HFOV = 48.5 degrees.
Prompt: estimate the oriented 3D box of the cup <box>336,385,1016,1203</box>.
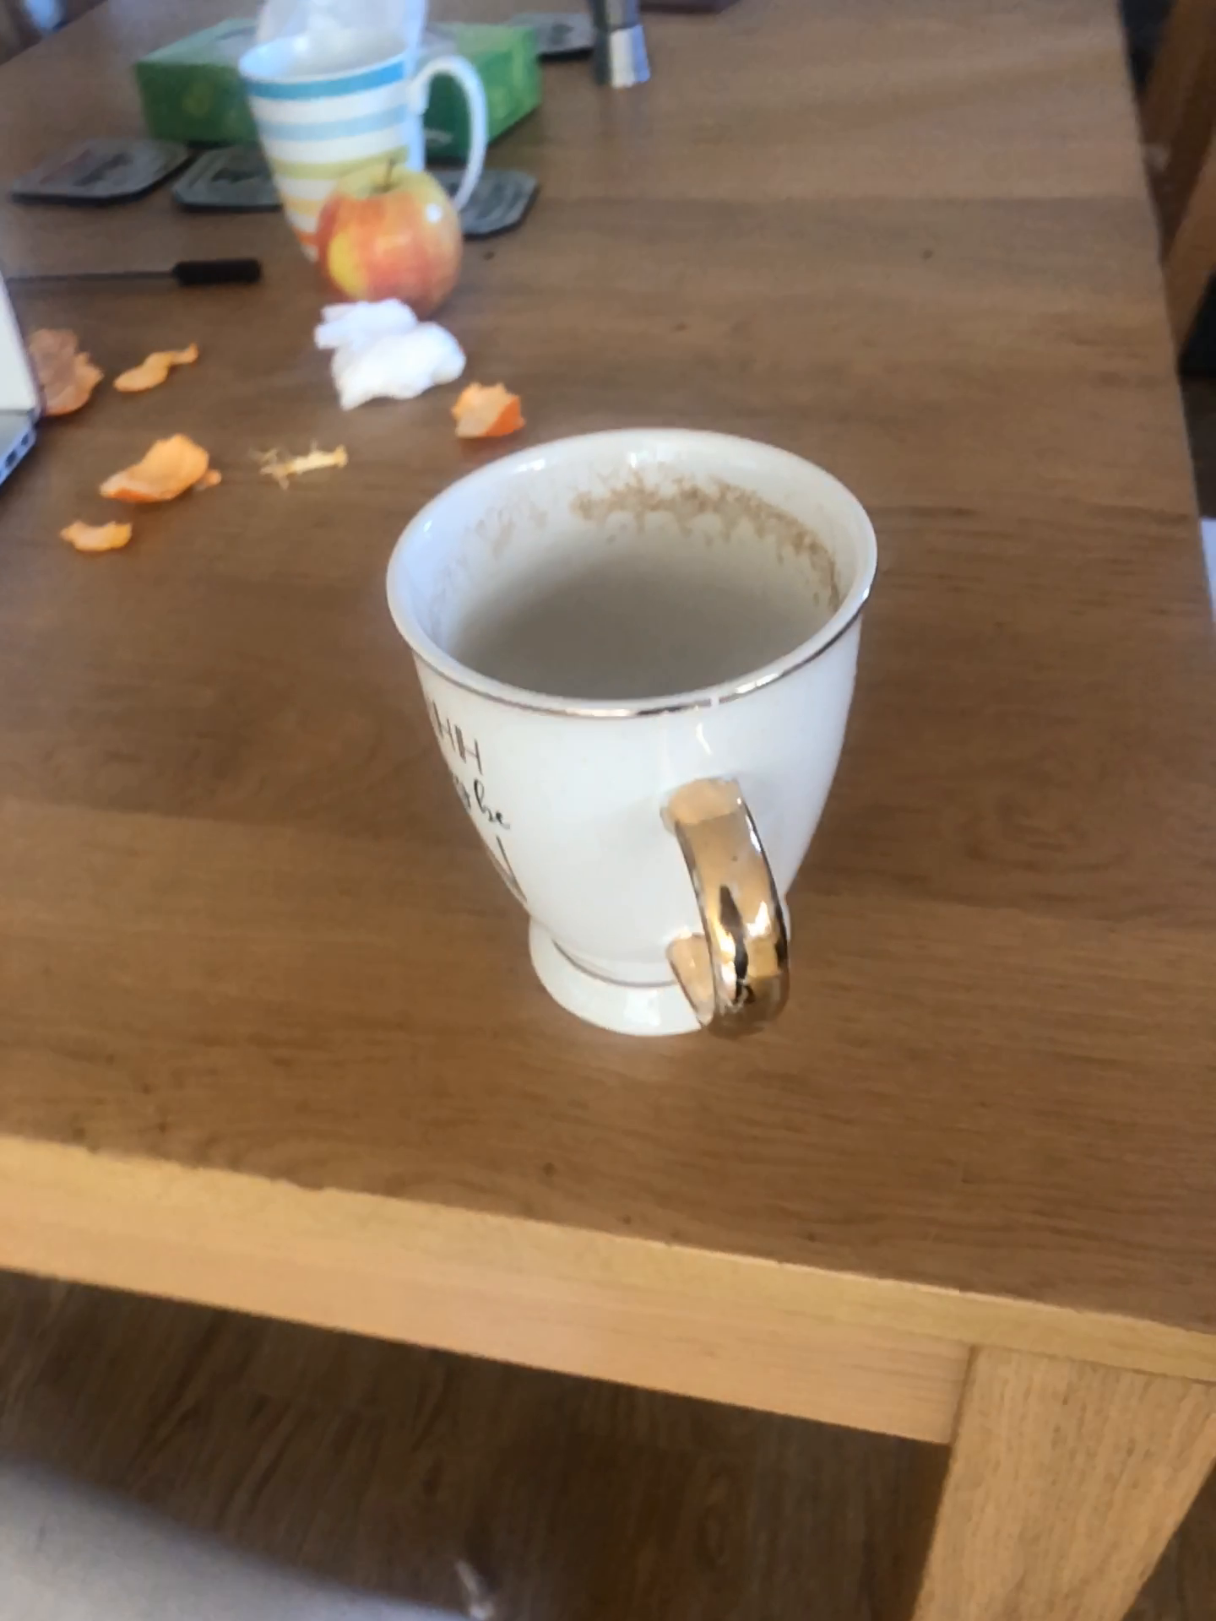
[{"bbox_3d":[0.008,-0.009,0.317,0.109,0.111,0.135,-12,44,-7],"label":"cup"}]
